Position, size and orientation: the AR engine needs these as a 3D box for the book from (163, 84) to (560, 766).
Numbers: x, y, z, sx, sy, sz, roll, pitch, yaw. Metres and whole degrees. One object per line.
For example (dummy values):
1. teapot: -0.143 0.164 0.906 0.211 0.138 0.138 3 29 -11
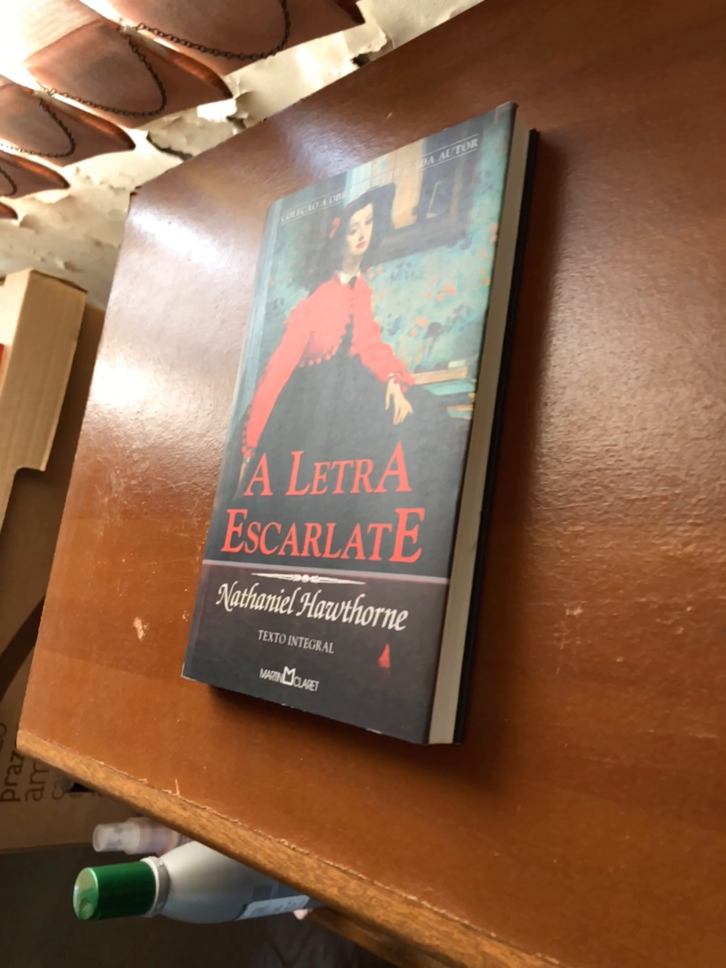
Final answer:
1. book: -0.005 -0.018 0.233 0.112 0.015 0.166 -2 74 47
